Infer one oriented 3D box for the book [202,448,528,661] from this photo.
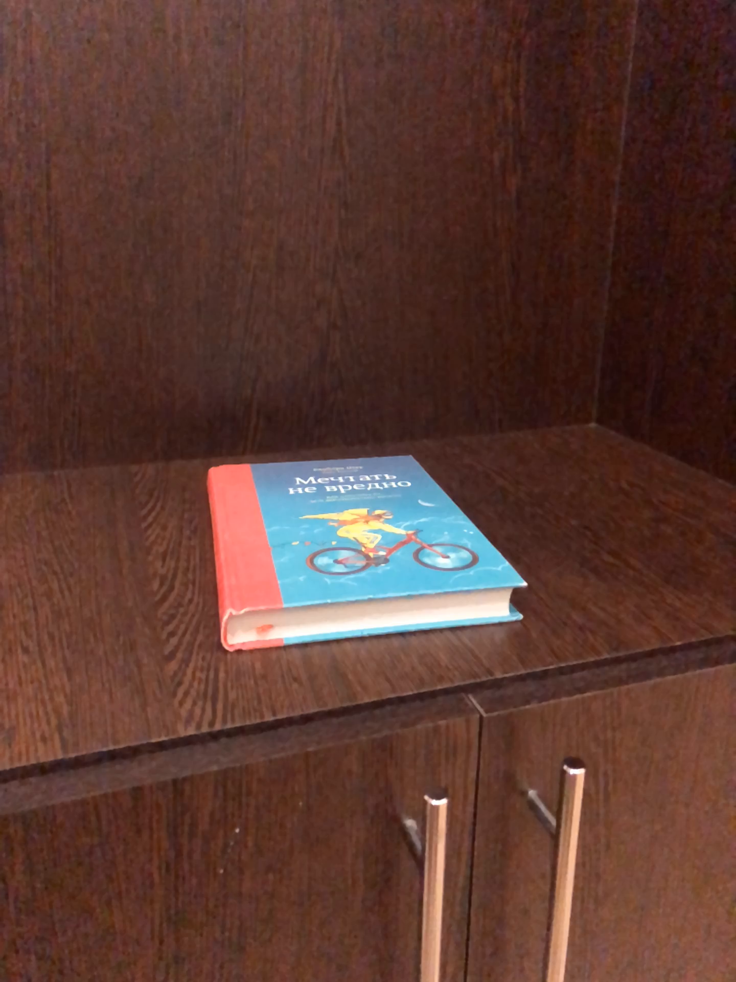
[{"bbox_3d":[-0.018,0.023,0.471,0.145,0.025,0.211,-4,21,-12],"label":"book"}]
